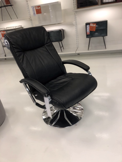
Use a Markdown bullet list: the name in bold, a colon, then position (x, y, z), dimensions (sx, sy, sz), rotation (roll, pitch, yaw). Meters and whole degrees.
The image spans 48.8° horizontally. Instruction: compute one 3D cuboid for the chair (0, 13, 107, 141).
- **chair**: position (-0.048, -0.130, 1.510), dimensions (0.732, 0.993, 0.803), rotation (-27, 32, -33)
